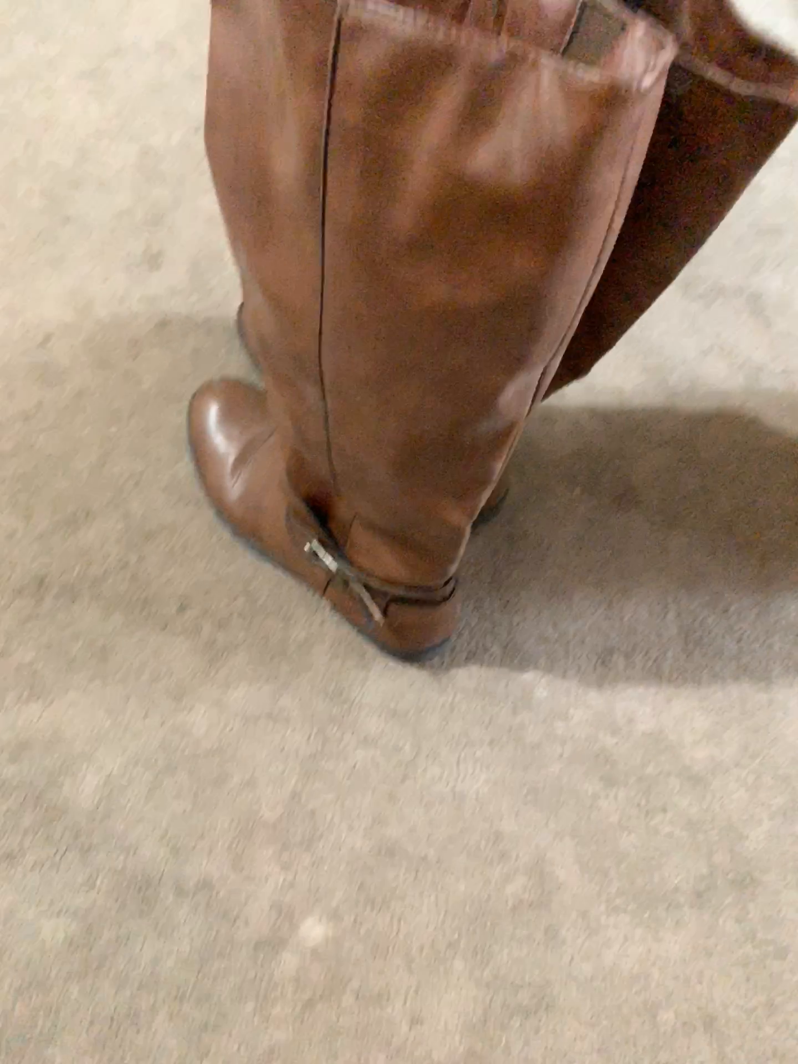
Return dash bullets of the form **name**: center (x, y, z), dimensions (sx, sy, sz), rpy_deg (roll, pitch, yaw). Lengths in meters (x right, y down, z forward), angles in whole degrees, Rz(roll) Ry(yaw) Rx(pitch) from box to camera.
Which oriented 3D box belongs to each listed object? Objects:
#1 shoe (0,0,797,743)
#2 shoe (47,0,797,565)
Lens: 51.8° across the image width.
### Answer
- **shoe**: center (-0.033, -0.086, 0.409), dimensions (0.120, 0.398, 0.271), rpy_deg (-35, 69, -19)
- **shoe**: center (-0.002, -0.180, 0.438), dimensions (0.261, 0.368, 0.110), rpy_deg (41, 68, 17)
